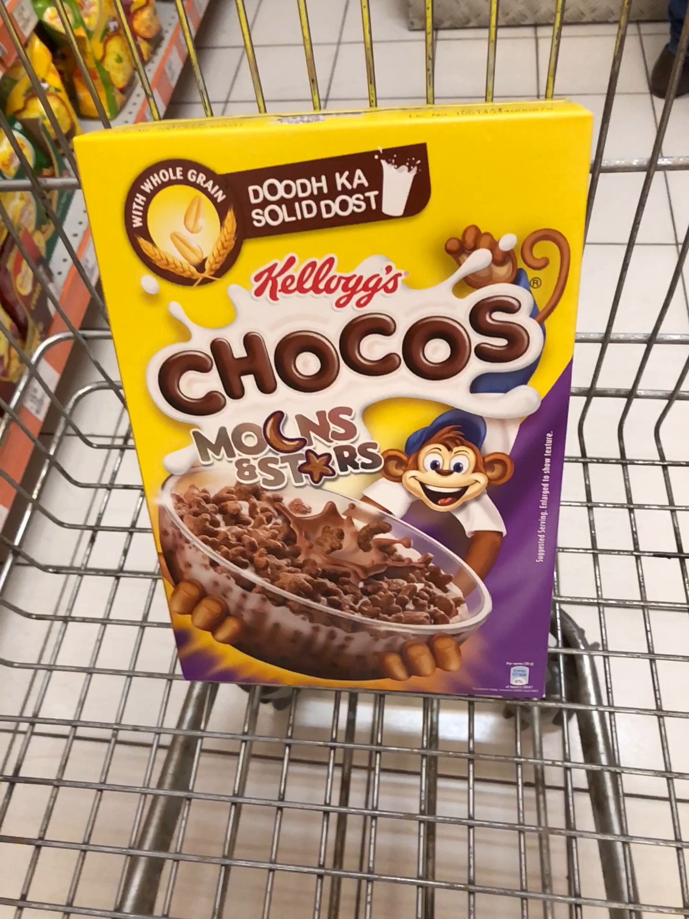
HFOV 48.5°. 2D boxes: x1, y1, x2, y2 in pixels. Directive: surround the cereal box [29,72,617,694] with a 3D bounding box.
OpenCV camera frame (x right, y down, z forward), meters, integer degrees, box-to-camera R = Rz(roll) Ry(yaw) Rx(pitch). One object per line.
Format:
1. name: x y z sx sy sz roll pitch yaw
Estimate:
1. cereal box: -0.001 -0.023 0.330 0.190 0.249 0.070 0 26 7
